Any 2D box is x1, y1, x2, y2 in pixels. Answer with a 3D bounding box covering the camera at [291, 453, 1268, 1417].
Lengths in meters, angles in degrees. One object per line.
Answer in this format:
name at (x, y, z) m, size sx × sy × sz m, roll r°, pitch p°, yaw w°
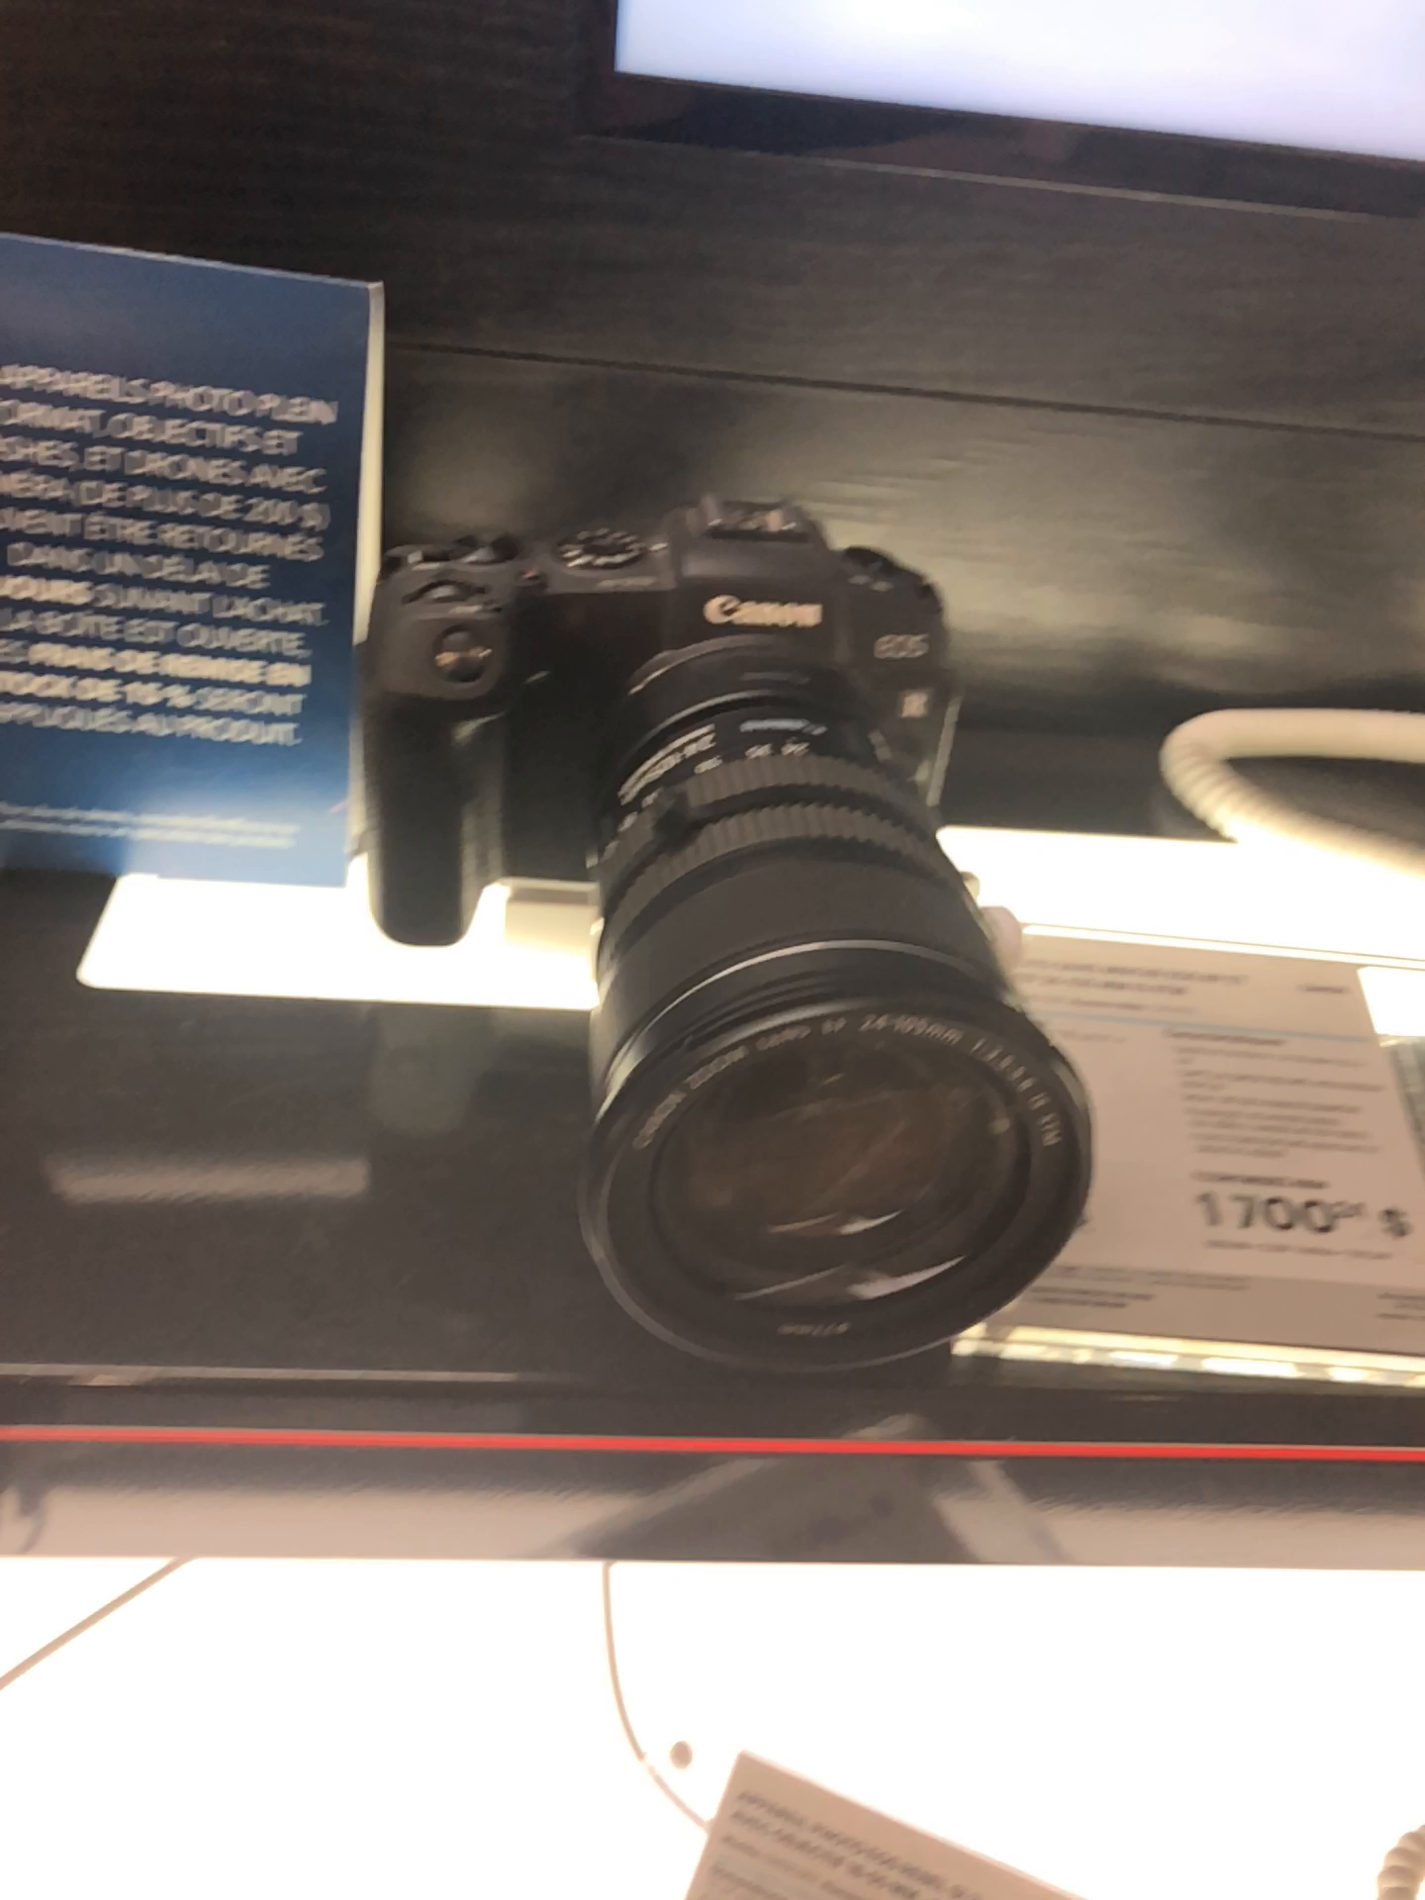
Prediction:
camera at (-0.003, -0.016, 0.305) m, size 0.128 × 0.099 × 0.178 m, roll 1°, pitch 33°, yaw -8°
